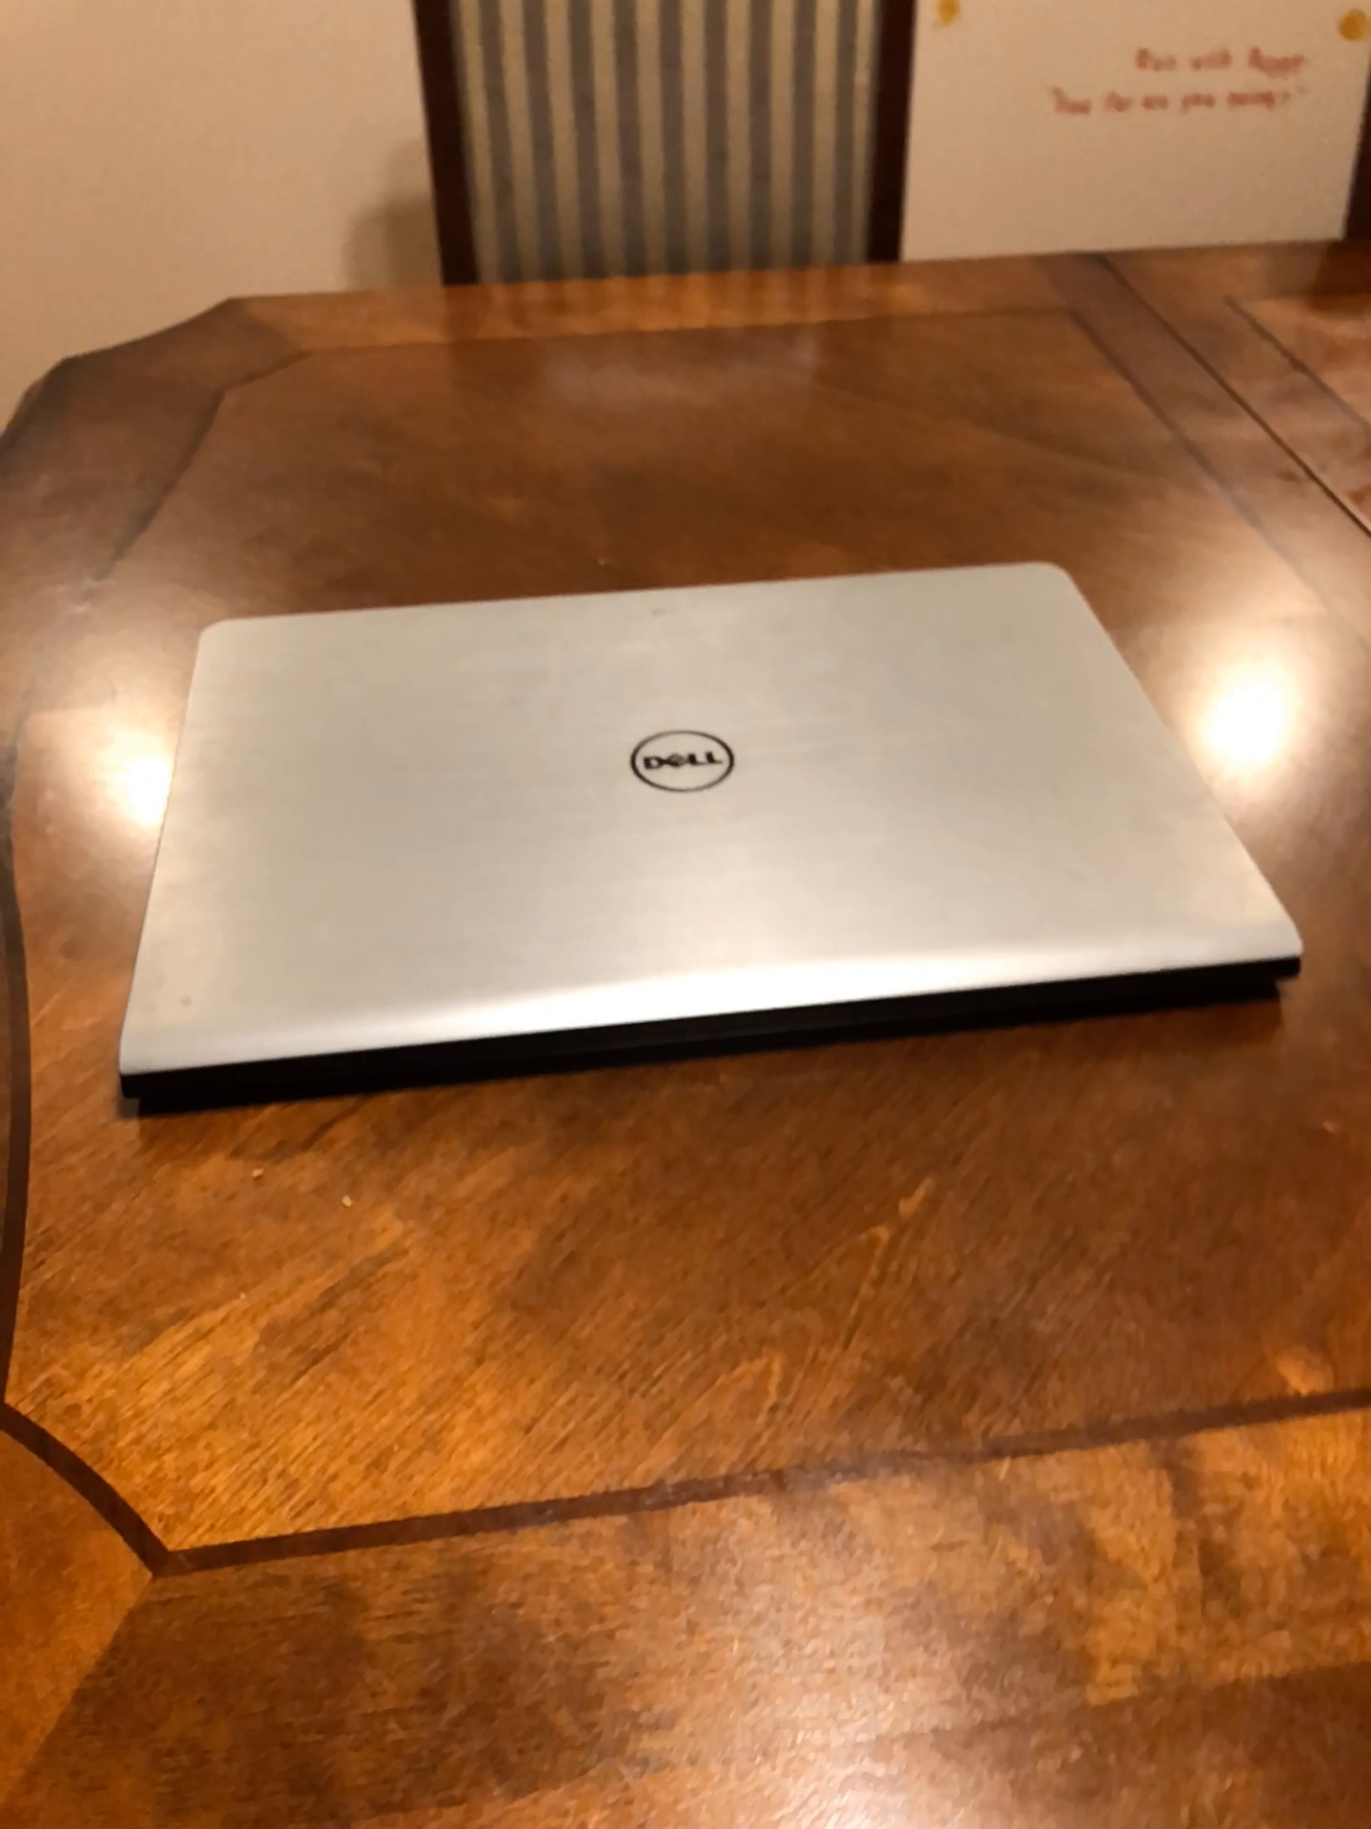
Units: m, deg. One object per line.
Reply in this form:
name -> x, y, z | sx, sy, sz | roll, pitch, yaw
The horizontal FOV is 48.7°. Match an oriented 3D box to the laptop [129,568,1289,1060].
laptop -> -0.003, -0.055, 0.561 | 0.363, 0.002, 0.245 | -5, 42, -6
